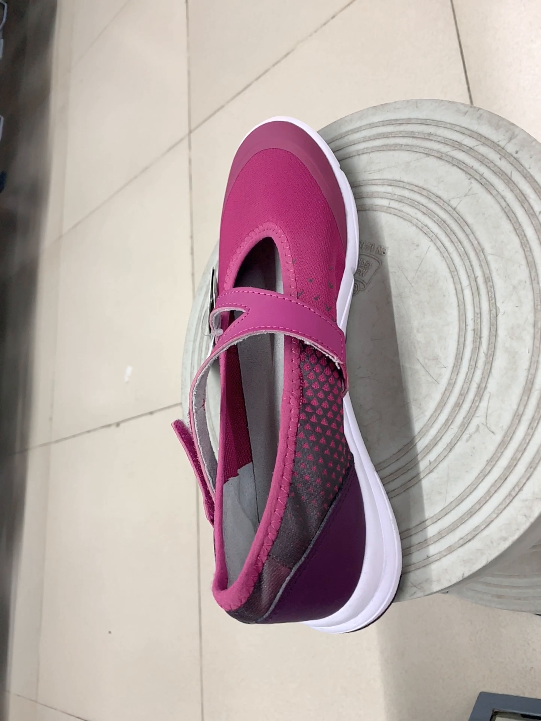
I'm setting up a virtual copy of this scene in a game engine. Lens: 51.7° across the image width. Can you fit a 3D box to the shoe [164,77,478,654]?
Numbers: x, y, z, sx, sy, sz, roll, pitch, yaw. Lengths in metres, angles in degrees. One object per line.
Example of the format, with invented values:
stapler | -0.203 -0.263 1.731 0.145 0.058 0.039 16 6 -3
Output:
shoe | 0.011 0.001 0.290 0.101 0.070 0.260 -25 63 39
